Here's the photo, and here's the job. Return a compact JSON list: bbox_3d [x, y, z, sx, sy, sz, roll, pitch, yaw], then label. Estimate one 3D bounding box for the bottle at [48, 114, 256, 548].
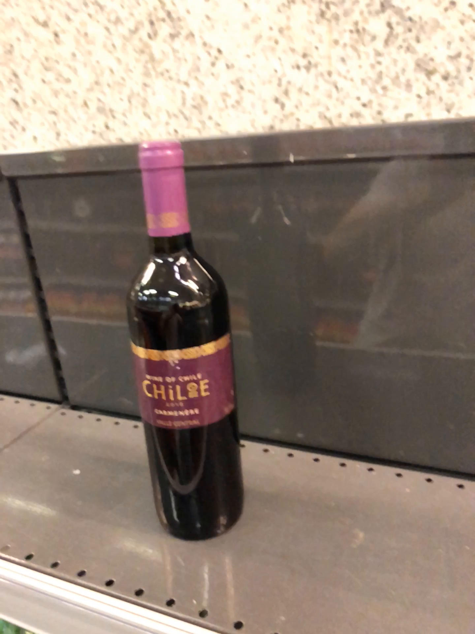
[{"bbox_3d":[-0.048,0.020,0.404,0.090,0.318,0.081,-2,22,10],"label":"bottle"}]
